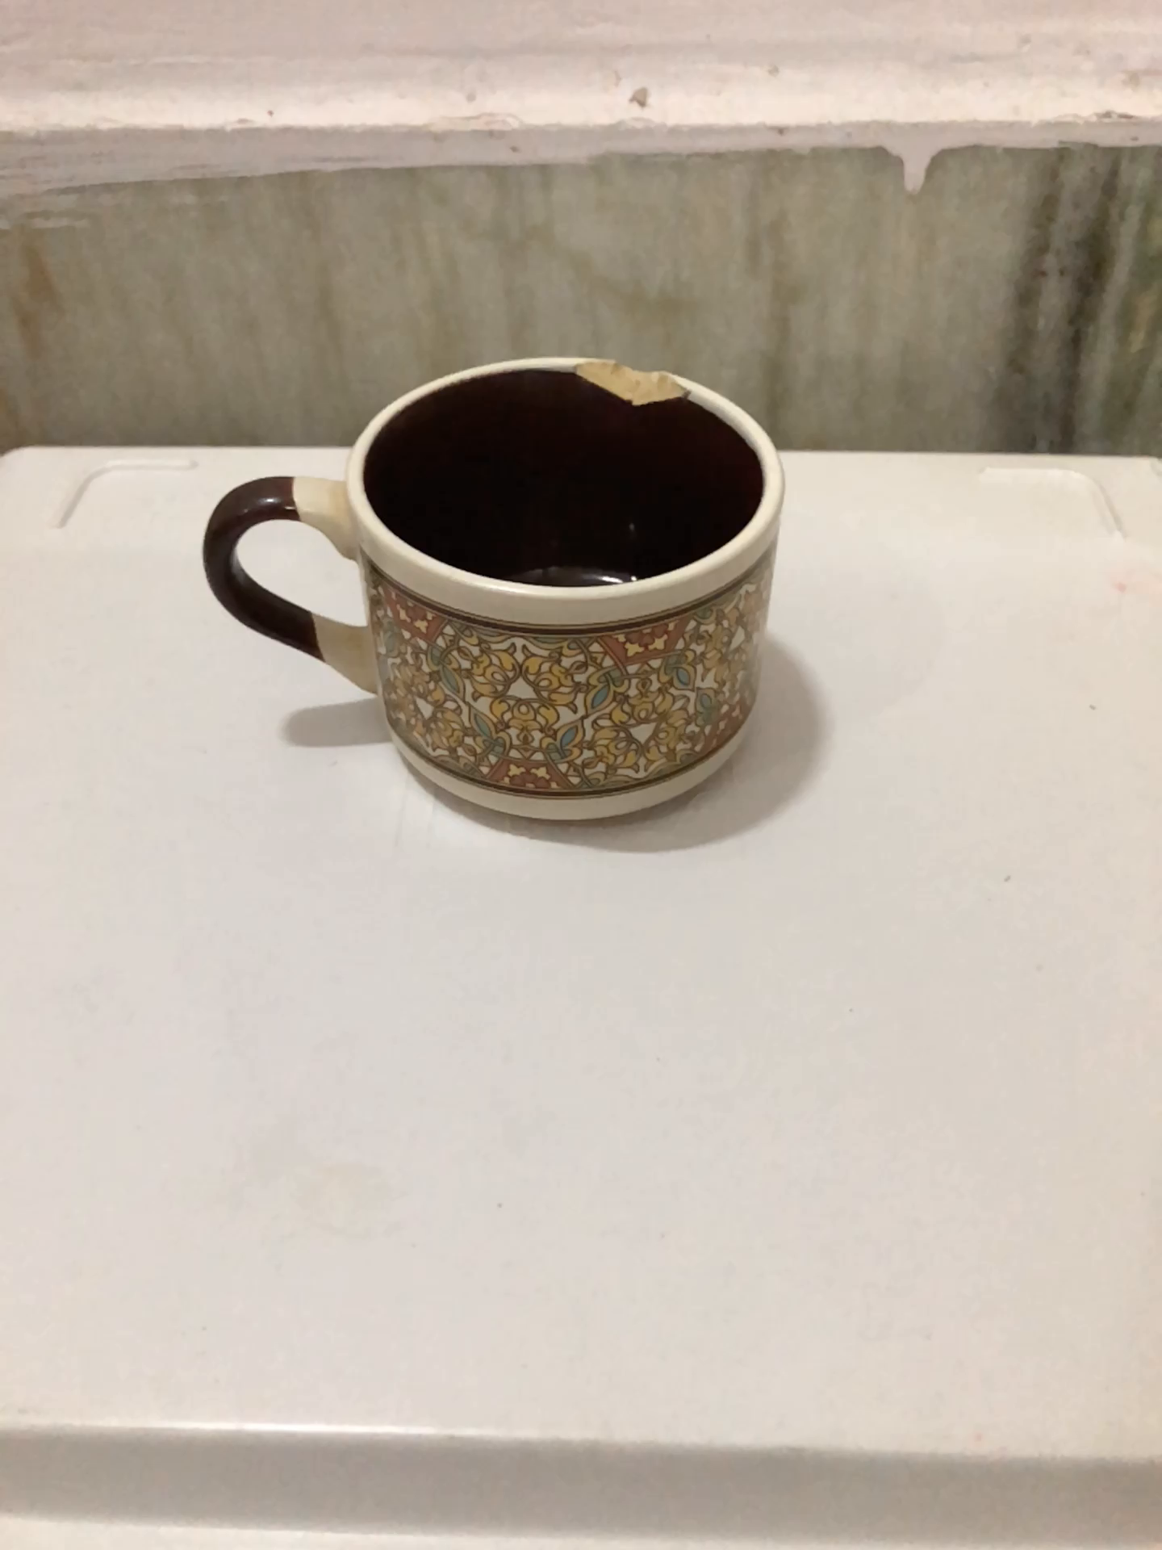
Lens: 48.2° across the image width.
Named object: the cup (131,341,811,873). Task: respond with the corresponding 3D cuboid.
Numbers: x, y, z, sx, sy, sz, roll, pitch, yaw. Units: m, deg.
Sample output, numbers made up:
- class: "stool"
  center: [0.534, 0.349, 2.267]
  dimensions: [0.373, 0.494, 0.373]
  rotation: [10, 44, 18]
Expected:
- class: "cup"
  center: [-0.014, -0.033, 0.240]
  dimensions: [0.100, 0.060, 0.081]
  rotation: [1, 43, 2]
